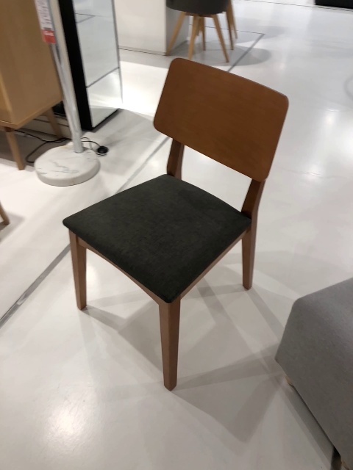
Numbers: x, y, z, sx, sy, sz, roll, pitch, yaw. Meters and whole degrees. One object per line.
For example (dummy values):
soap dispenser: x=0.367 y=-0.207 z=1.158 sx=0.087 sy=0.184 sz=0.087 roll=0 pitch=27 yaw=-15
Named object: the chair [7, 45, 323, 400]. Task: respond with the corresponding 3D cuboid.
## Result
chair: x=-0.018 y=-0.053 z=1.227 sx=0.532 sy=0.804 sz=0.583 roll=32 pitch=51 yaw=31
